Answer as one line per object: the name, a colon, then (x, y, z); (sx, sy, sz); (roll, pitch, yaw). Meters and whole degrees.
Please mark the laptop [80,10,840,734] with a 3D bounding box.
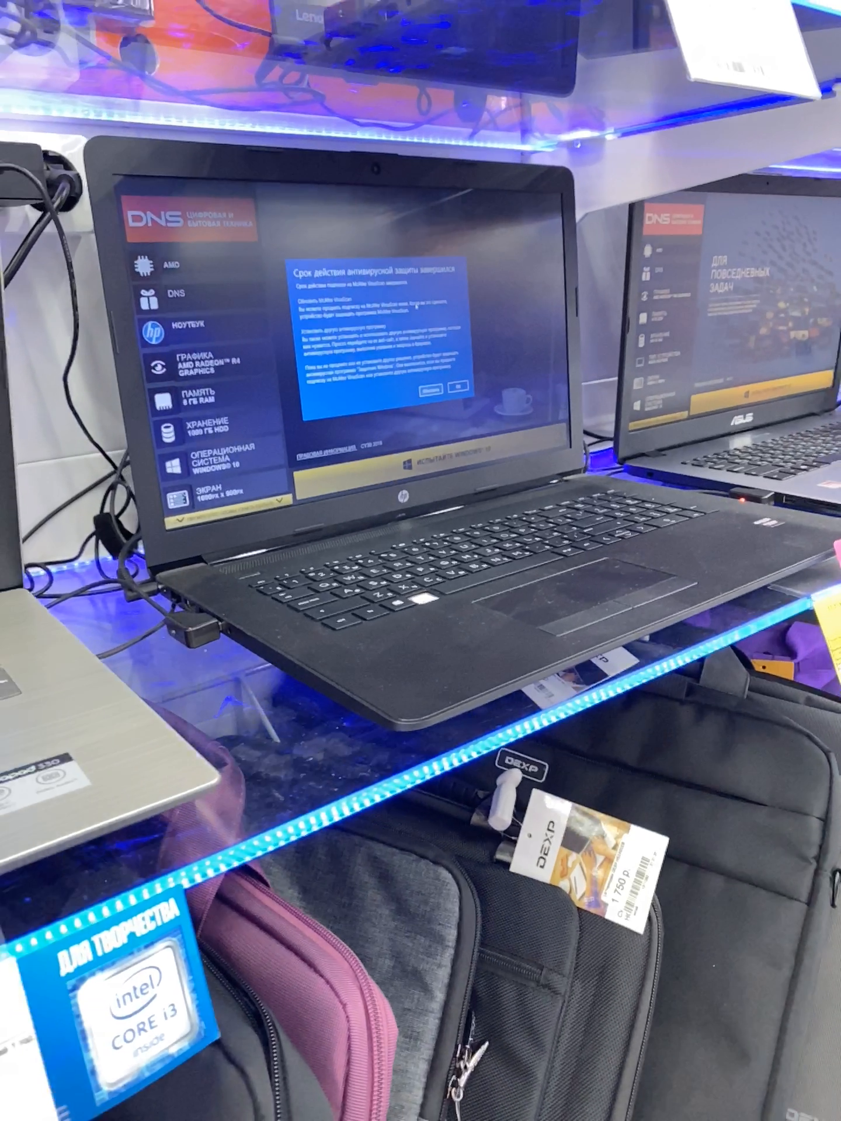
laptop: (0.062, -0.130, 0.551); (0.419, 0.260, 0.295); (-15, 22, -37)
